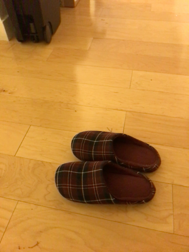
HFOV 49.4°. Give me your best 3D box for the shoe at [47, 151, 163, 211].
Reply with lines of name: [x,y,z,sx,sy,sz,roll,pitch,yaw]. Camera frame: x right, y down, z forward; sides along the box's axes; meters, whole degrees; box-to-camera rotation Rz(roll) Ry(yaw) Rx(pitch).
shoe: [0.028,0.139,0.536,0.270,0.050,0.121,4,50,4]

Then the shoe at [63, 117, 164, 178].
shoe: [0.057,0.057,0.585,0.260,0.050,0.121,10,51,9]
